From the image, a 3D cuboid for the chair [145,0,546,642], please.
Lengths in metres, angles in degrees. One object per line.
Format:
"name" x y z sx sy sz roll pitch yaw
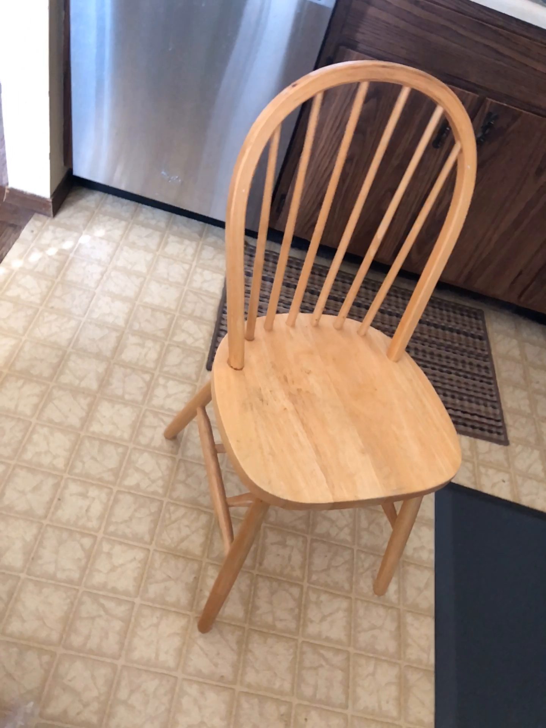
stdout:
"chair" 0.098 0.007 1.043 0.461 0.898 0.560 -3 52 -22
